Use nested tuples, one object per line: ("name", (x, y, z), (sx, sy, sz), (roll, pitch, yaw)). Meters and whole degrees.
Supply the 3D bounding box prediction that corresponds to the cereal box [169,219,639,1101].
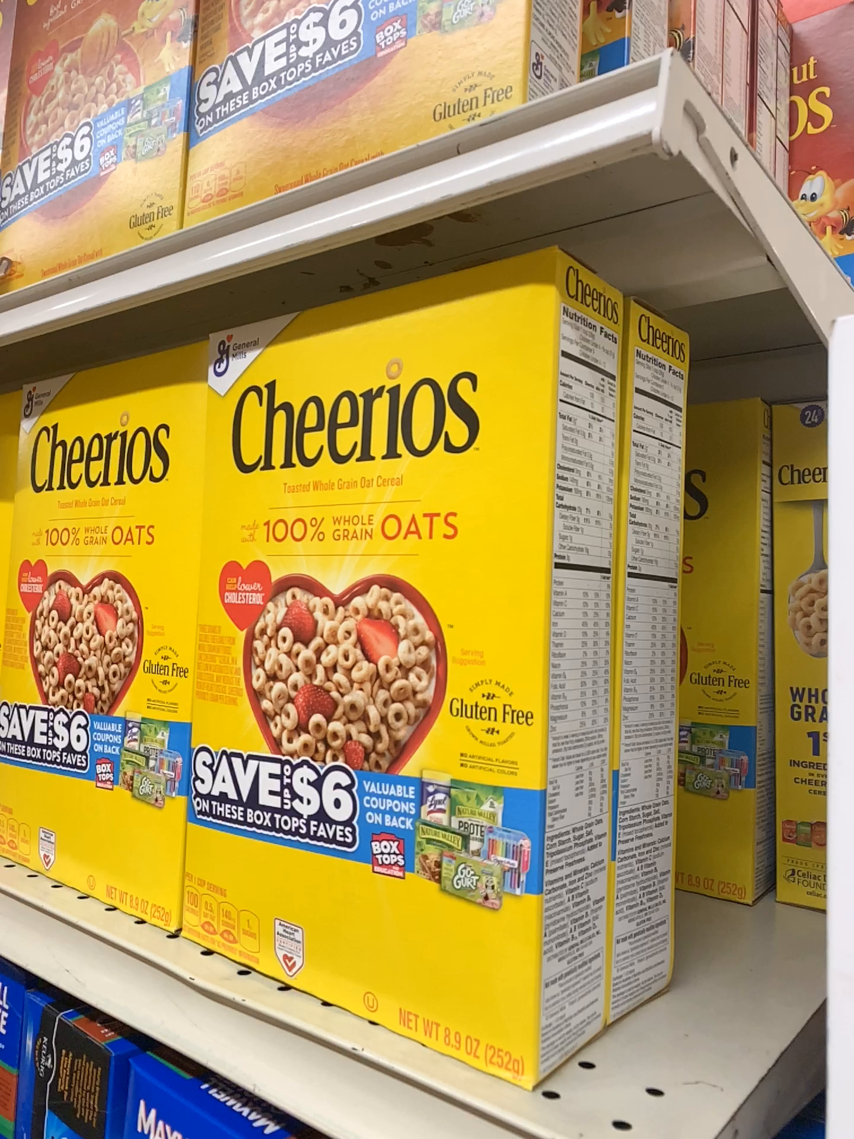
("cereal box", (-0.018, 0.025, 0.348), (0.190, 0.270, 0.050), (0, -4, 39))
